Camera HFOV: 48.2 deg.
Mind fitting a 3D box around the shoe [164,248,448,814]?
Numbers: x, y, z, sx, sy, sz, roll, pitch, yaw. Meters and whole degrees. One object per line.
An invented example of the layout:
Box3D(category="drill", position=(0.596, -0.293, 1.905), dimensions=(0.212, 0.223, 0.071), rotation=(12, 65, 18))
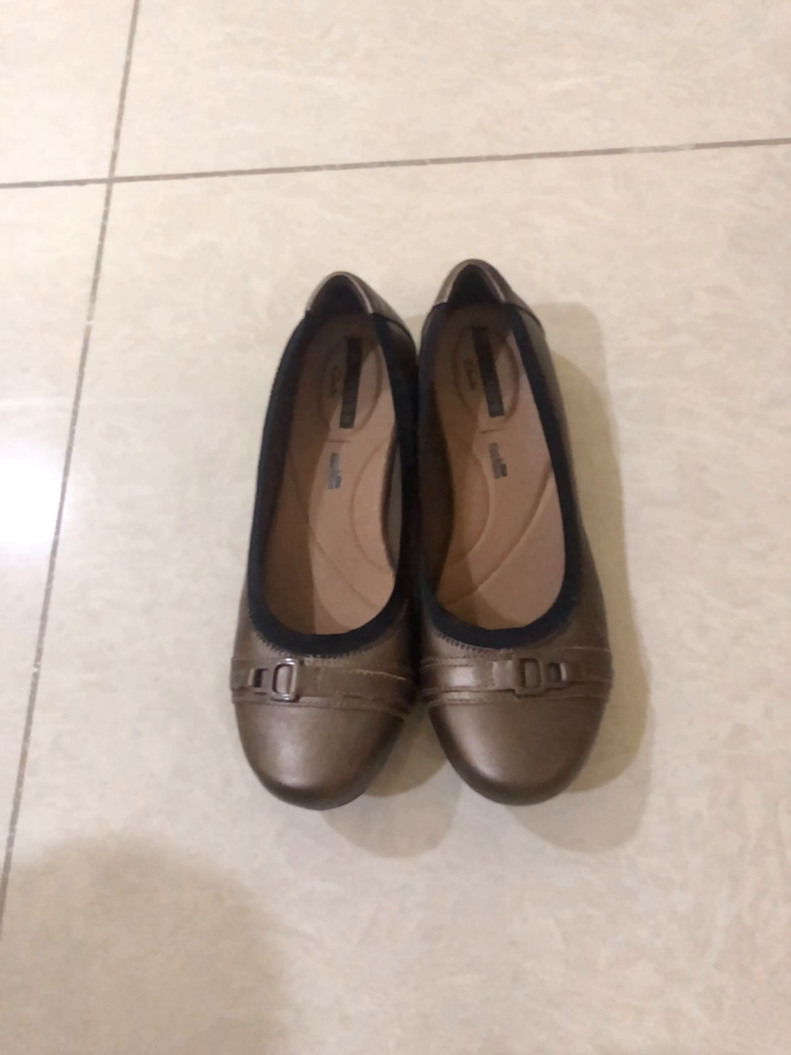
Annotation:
Box3D(category="shoe", position=(-0.034, -0.006, 0.431), dimensions=(0.100, 0.050, 0.270), rotation=(3, 71, 7))

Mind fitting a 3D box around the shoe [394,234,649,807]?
Box3D(category="shoe", position=(0.053, -0.005, 0.423), dimensions=(0.090, 0.070, 0.260), rotation=(-4, 71, 5))
